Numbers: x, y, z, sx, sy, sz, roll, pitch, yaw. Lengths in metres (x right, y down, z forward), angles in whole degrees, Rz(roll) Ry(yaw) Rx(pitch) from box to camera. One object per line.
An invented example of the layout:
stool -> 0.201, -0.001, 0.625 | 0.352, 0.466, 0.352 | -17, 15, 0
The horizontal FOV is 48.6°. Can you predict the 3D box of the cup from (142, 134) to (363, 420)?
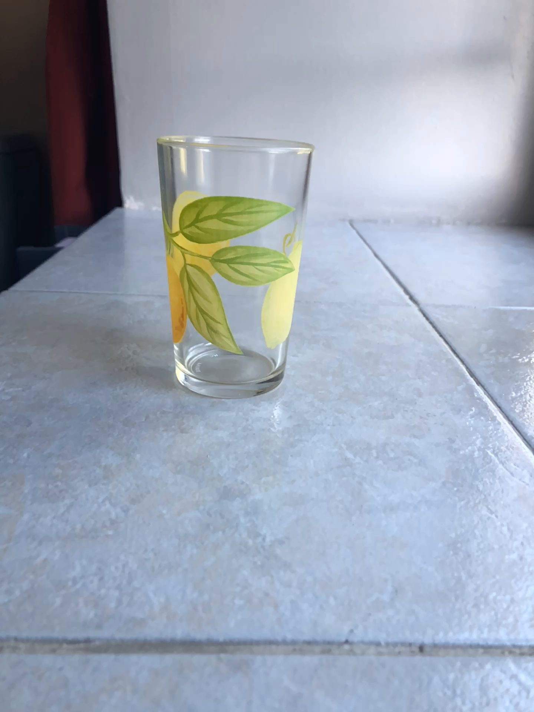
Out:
cup -> -0.008, -0.043, 0.280 | 0.070, 0.112, 0.070 | 1, 22, 0
